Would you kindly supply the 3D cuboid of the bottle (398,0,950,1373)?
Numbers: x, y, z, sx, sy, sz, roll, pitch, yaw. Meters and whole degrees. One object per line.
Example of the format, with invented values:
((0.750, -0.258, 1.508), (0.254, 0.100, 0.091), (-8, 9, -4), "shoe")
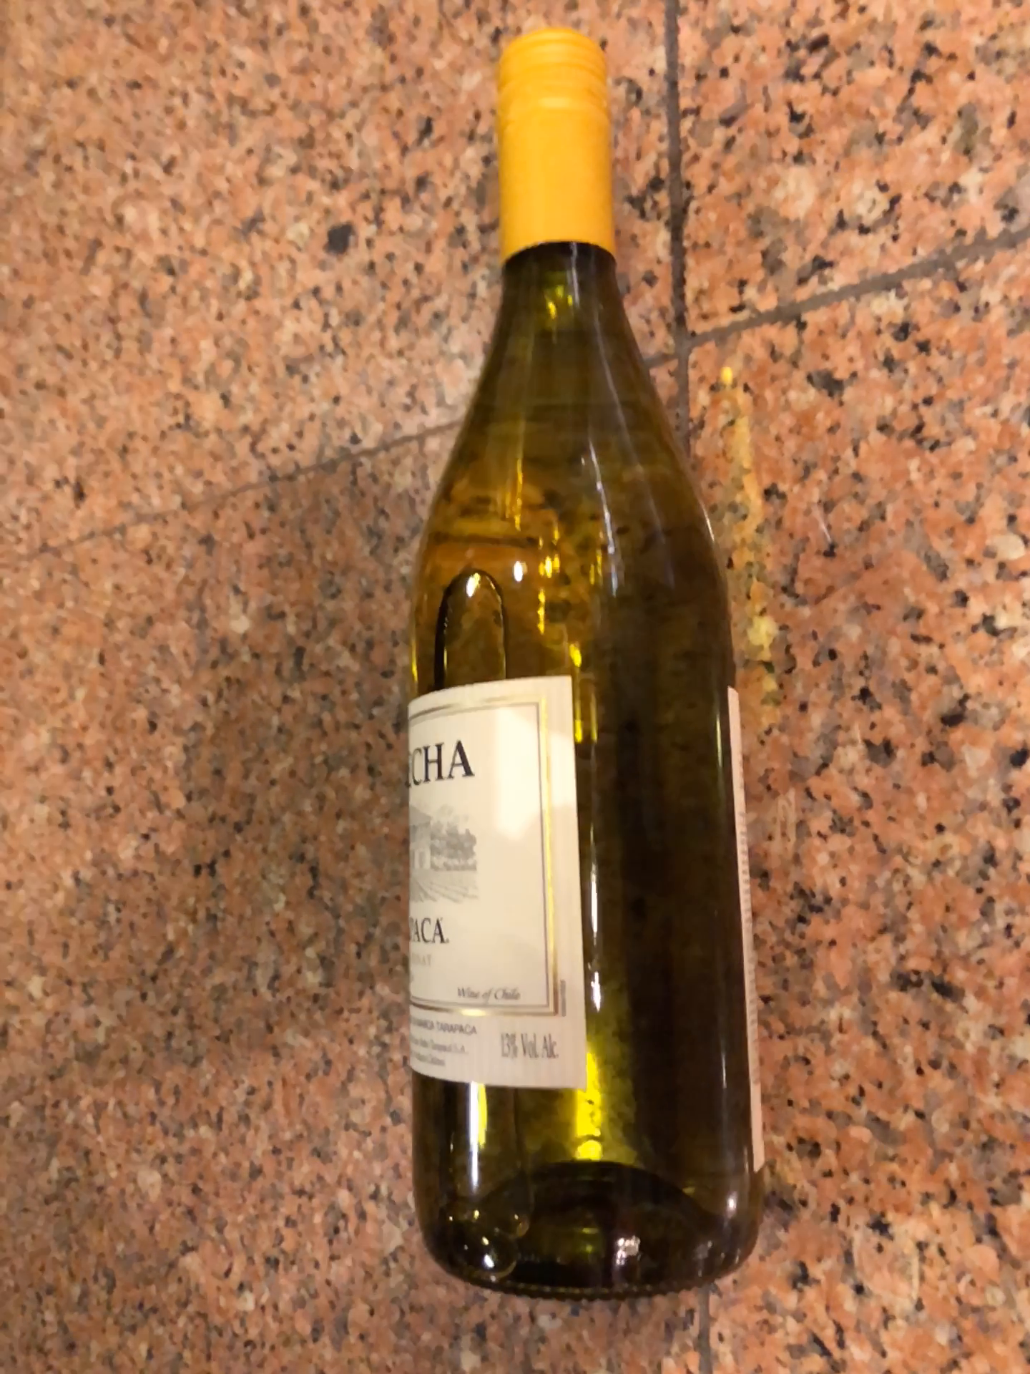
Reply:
((0.030, -0.030, 0.271), (0.090, 0.070, 0.340), (-10, 77, 38), "bottle")
